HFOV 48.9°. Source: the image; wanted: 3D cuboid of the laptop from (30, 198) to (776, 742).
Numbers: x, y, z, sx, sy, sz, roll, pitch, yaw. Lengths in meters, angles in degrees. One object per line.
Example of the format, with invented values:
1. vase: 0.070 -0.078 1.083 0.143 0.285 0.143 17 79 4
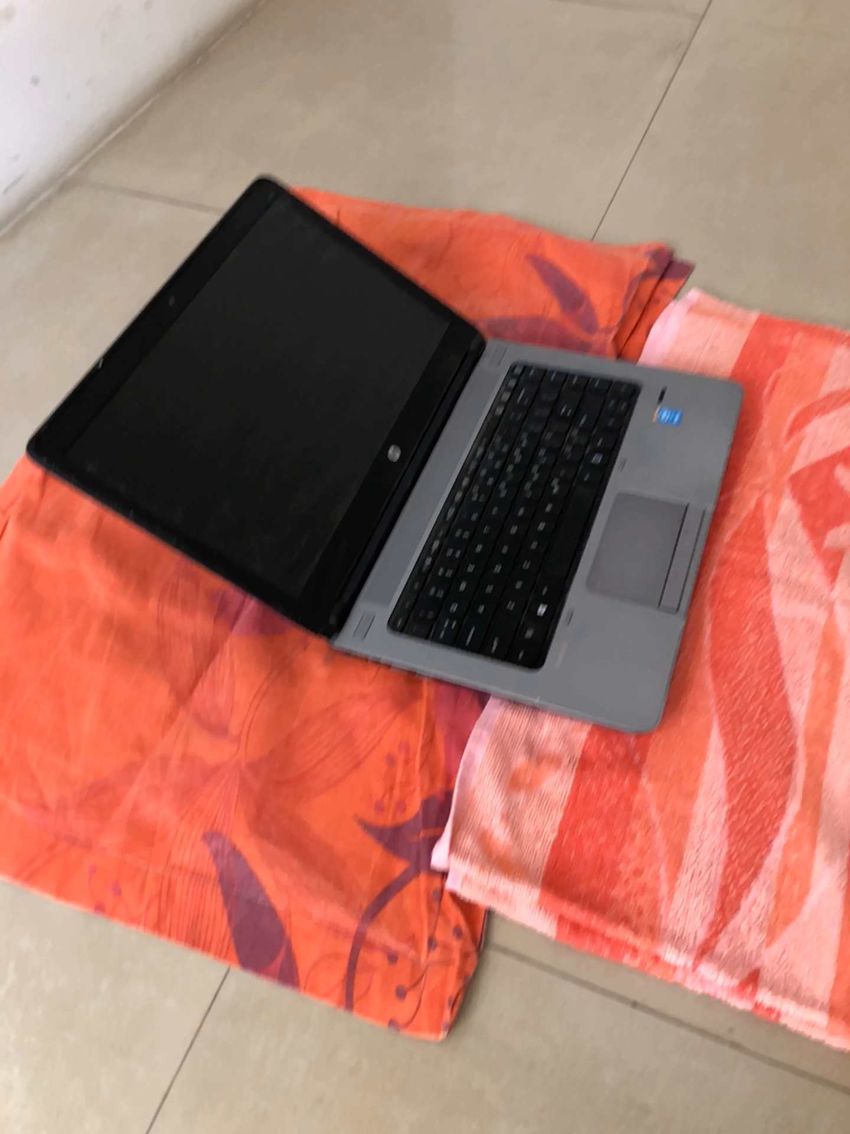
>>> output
1. laptop: 0.002 -0.100 0.673 0.410 0.111 0.330 15 55 16
